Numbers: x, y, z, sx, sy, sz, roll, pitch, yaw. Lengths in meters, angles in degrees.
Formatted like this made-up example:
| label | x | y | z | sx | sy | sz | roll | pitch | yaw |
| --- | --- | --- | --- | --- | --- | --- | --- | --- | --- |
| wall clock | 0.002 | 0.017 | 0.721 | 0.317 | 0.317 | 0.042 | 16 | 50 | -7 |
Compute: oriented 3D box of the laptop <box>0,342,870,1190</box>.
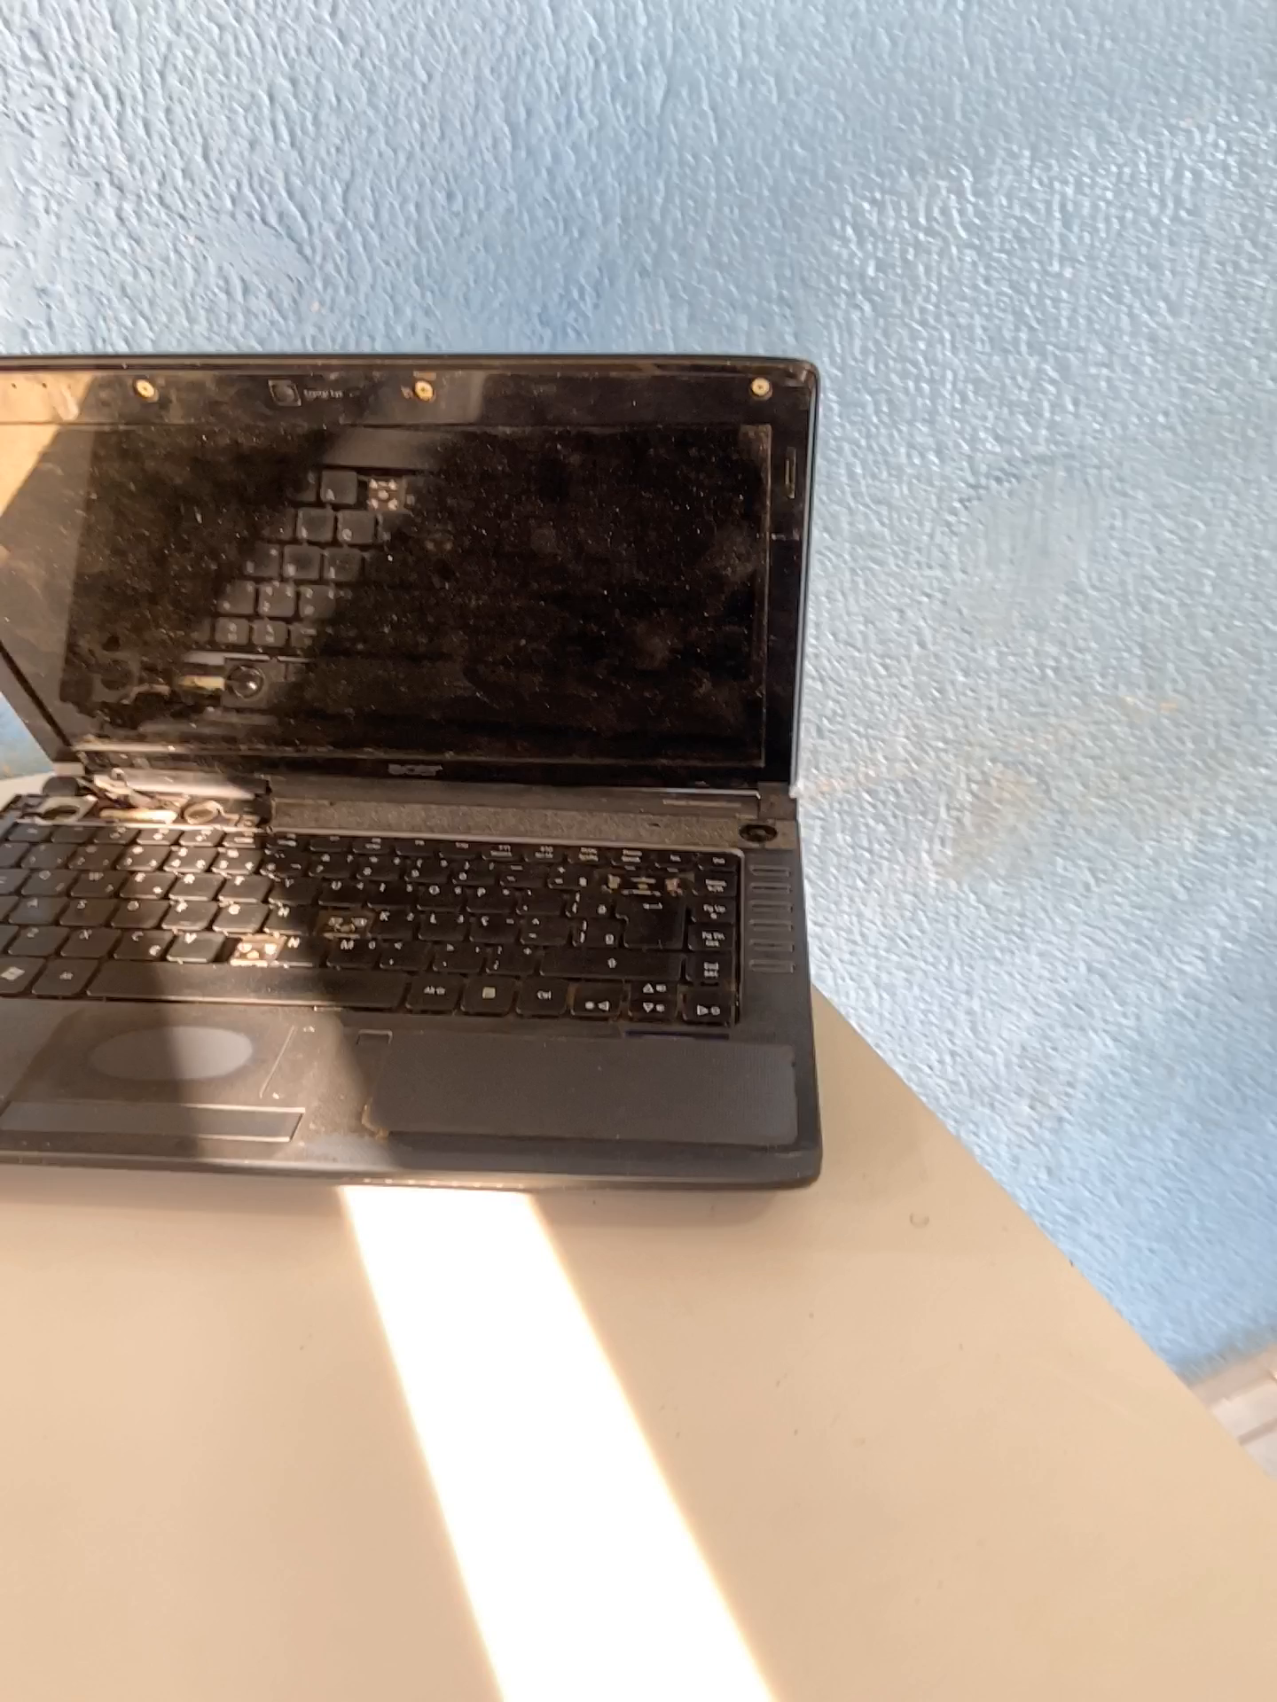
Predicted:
| label | x | y | z | sx | sy | sz | roll | pitch | yaw |
| --- | --- | --- | --- | --- | --- | --- | --- | --- | --- |
| laptop | -0.108 | -0.050 | 0.435 | 0.334 | 0.182 | 0.229 | 1 | 30 | 5 |
